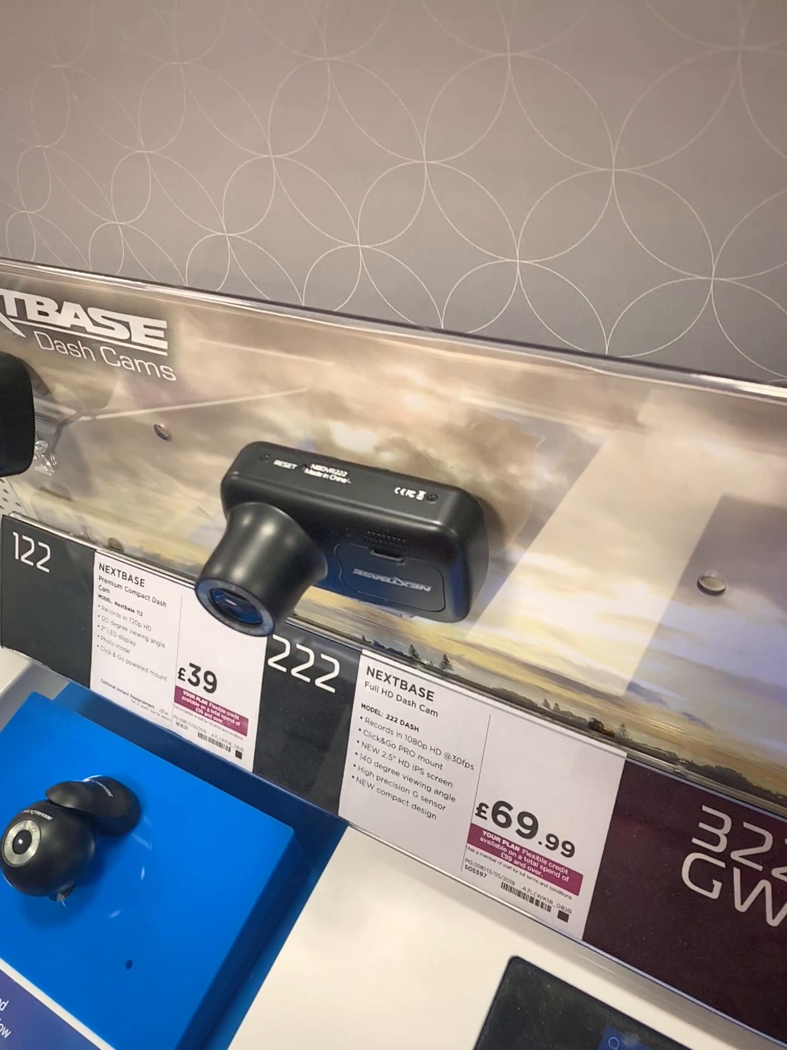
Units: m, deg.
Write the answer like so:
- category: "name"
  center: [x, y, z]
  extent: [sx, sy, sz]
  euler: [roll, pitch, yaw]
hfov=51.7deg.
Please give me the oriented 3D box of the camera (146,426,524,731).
- category: "camera"
  center: [-0.015, 0.012, 0.233]
  extent: [0.090, 0.040, 0.050]
  euler: [17, 51, 25]
